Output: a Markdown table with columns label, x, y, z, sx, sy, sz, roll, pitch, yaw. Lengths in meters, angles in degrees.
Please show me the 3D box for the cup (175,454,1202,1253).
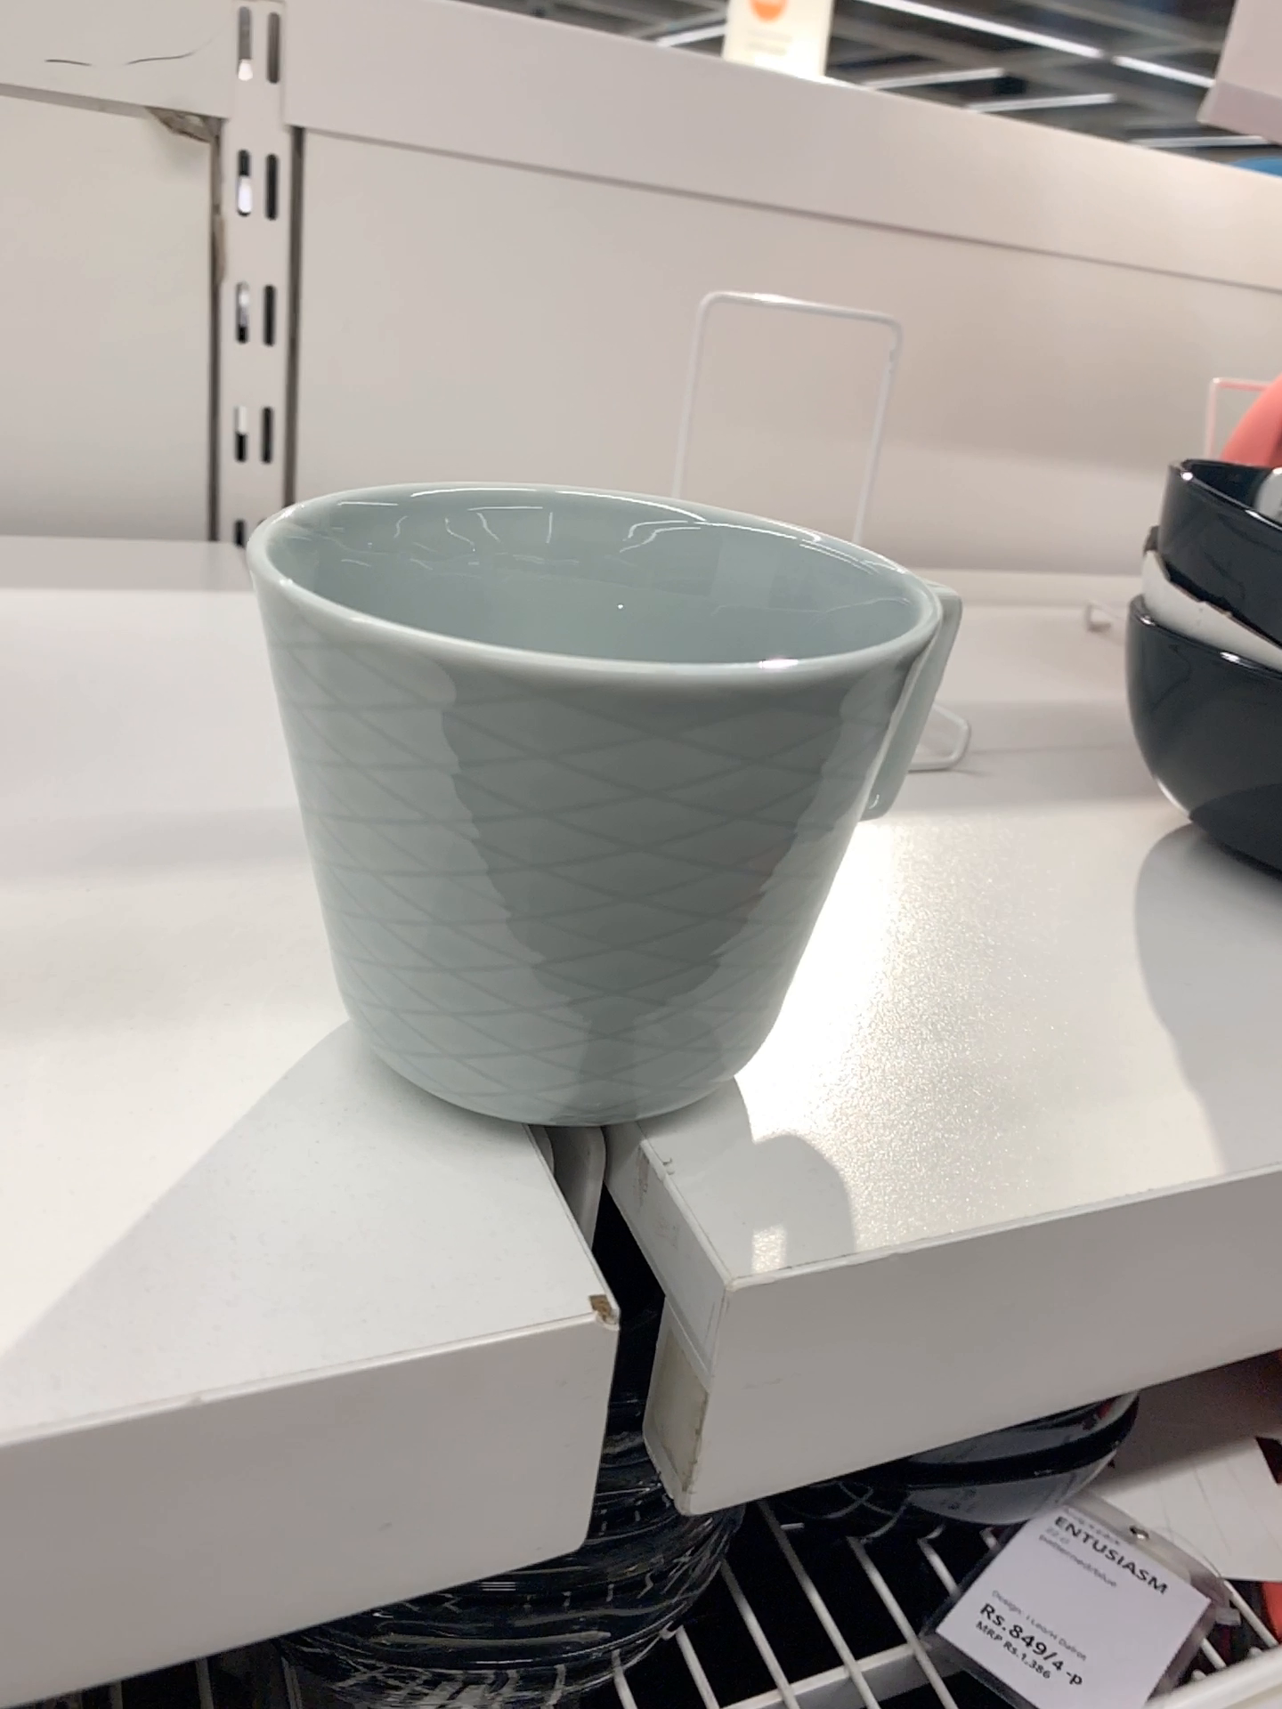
| label | x | y | z | sx | sy | sz | roll | pitch | yaw |
| --- | --- | --- | --- | --- | --- | --- | --- | --- | --- |
| cup | 0.012 | -0.019 | 0.216 | 0.100 | 0.070 | 0.130 | 23 | 28 | 32 |
